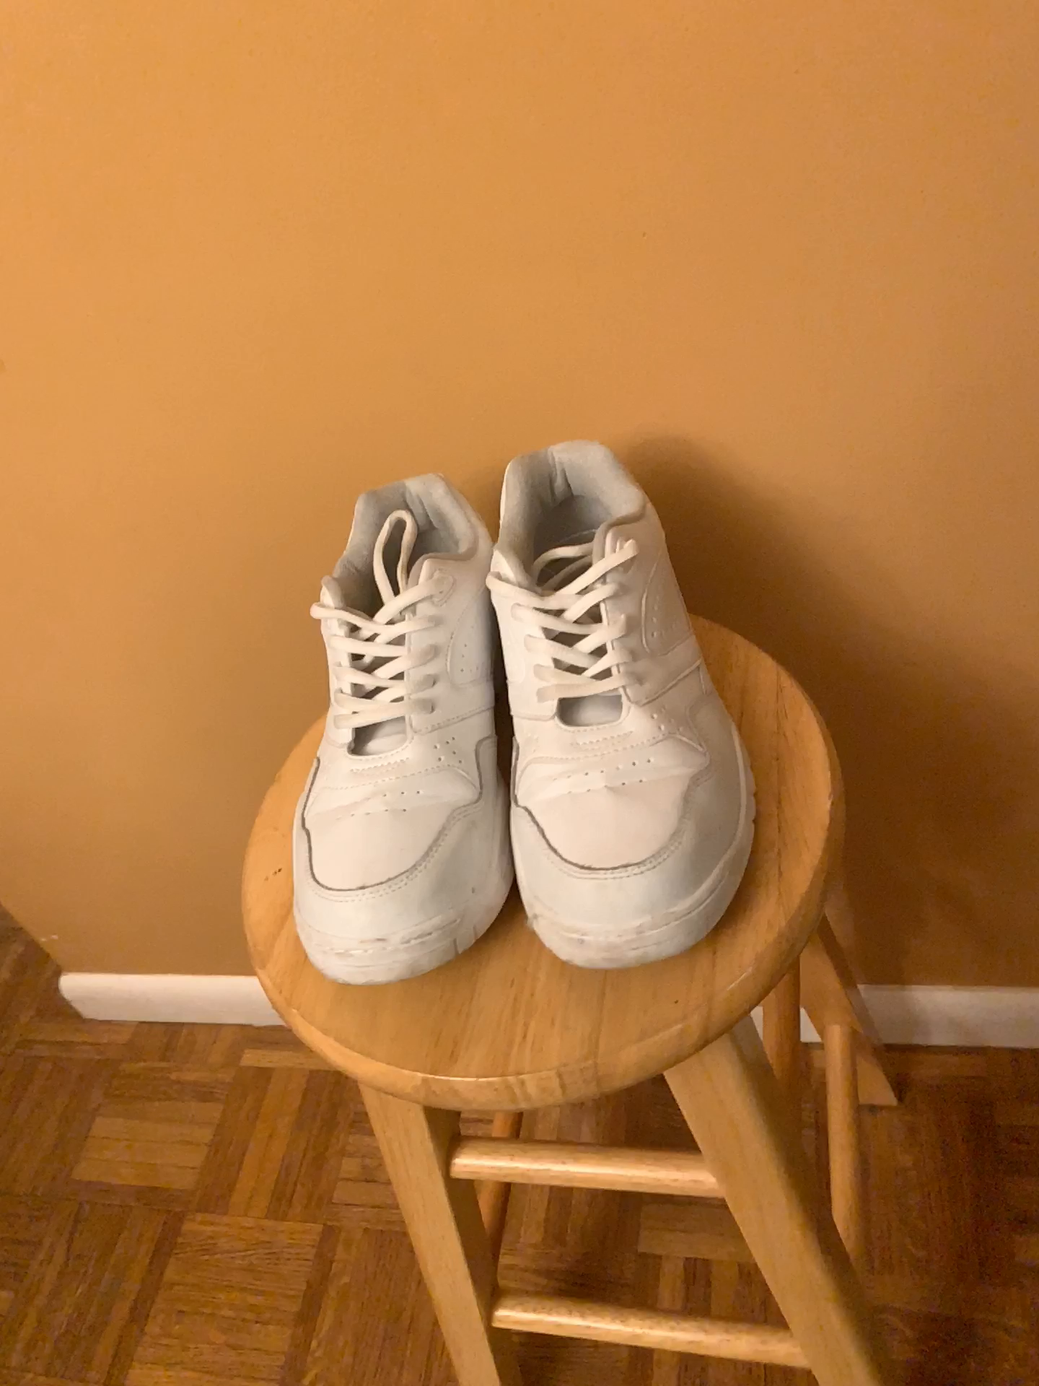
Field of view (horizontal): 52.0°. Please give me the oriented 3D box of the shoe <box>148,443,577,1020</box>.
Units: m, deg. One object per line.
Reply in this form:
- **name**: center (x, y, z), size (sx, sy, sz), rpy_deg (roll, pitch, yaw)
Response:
- **shoe**: center (-0.053, 0.006, 0.524), size (0.130, 0.109, 0.271), rpy_deg (-7, 42, 13)

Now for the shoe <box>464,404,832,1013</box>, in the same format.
- **shoe**: center (0.047, -0.009, 0.499), size (0.120, 0.109, 0.271), rpy_deg (-12, 41, 8)
